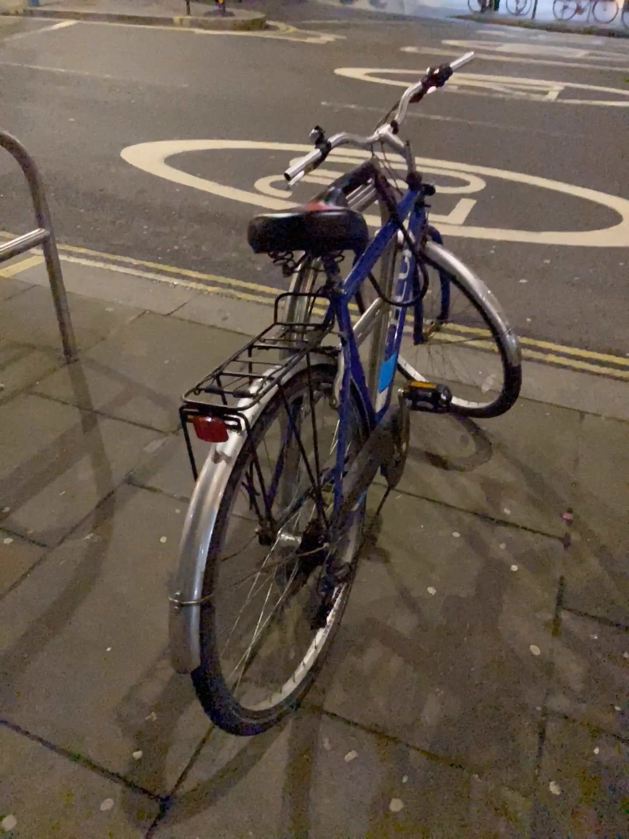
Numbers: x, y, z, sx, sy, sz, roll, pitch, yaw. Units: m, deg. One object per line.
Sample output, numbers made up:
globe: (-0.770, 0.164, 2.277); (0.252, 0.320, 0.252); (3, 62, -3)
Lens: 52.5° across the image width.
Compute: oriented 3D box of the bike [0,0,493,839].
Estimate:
bike: (-0.020, -0.238, 1.509); (0.655, 1.108, 1.604); (9, 38, 10)
